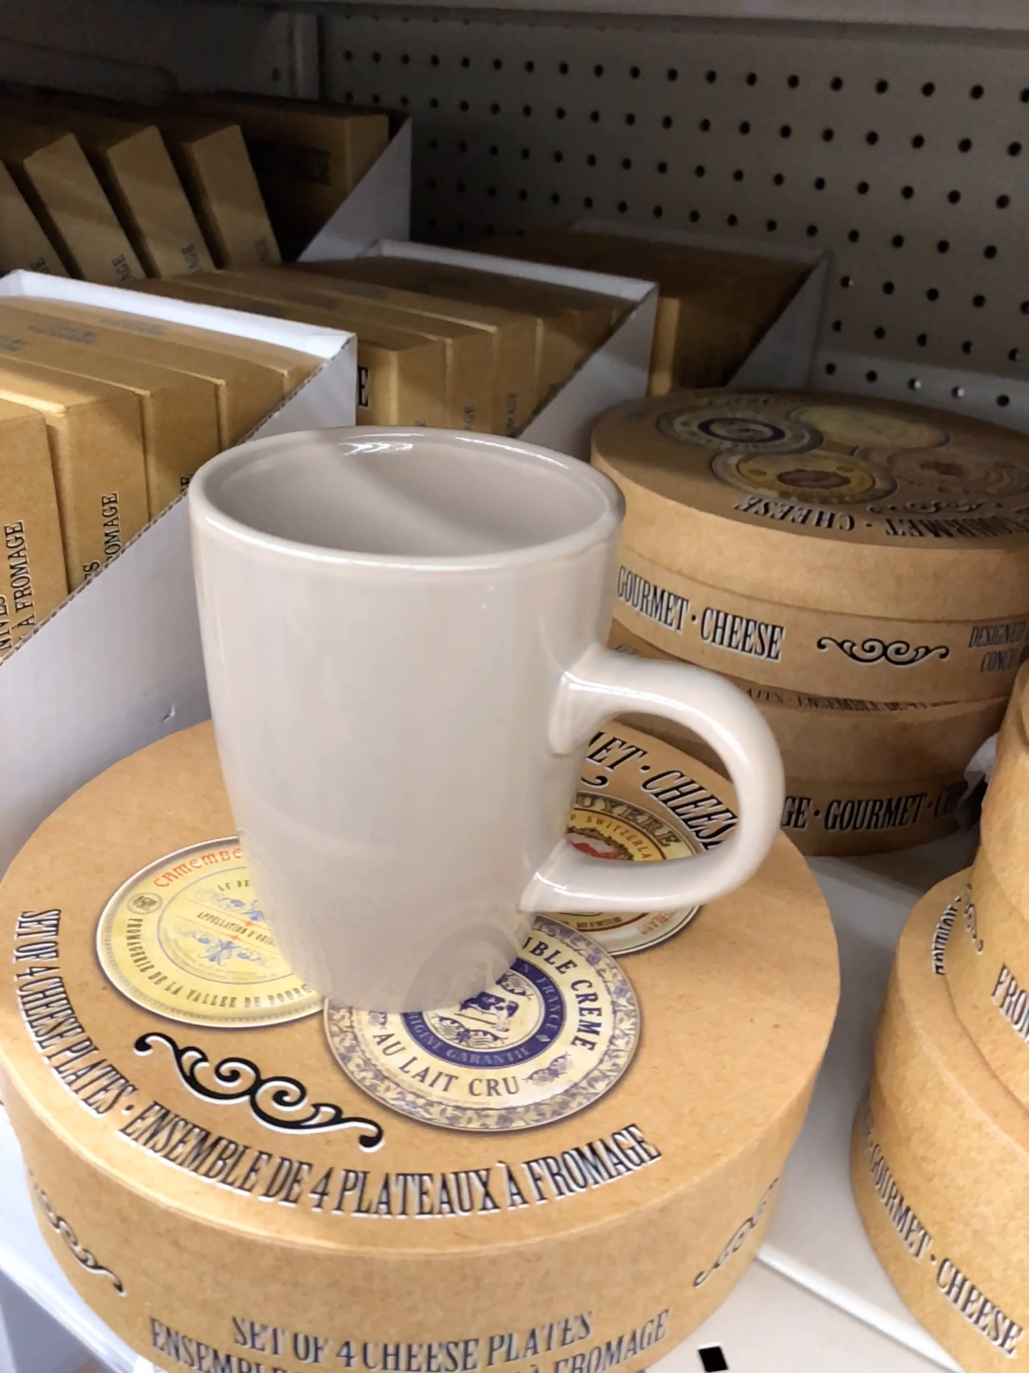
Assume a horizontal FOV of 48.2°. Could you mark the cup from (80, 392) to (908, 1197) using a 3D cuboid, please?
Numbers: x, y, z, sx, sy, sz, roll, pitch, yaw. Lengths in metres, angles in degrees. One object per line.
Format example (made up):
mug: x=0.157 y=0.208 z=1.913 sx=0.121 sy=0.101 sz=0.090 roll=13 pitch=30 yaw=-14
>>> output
cup: x=-0.007 y=0.007 z=0.241 sx=0.130 sy=0.100 sz=0.090 roll=22 pitch=32 yaw=31
